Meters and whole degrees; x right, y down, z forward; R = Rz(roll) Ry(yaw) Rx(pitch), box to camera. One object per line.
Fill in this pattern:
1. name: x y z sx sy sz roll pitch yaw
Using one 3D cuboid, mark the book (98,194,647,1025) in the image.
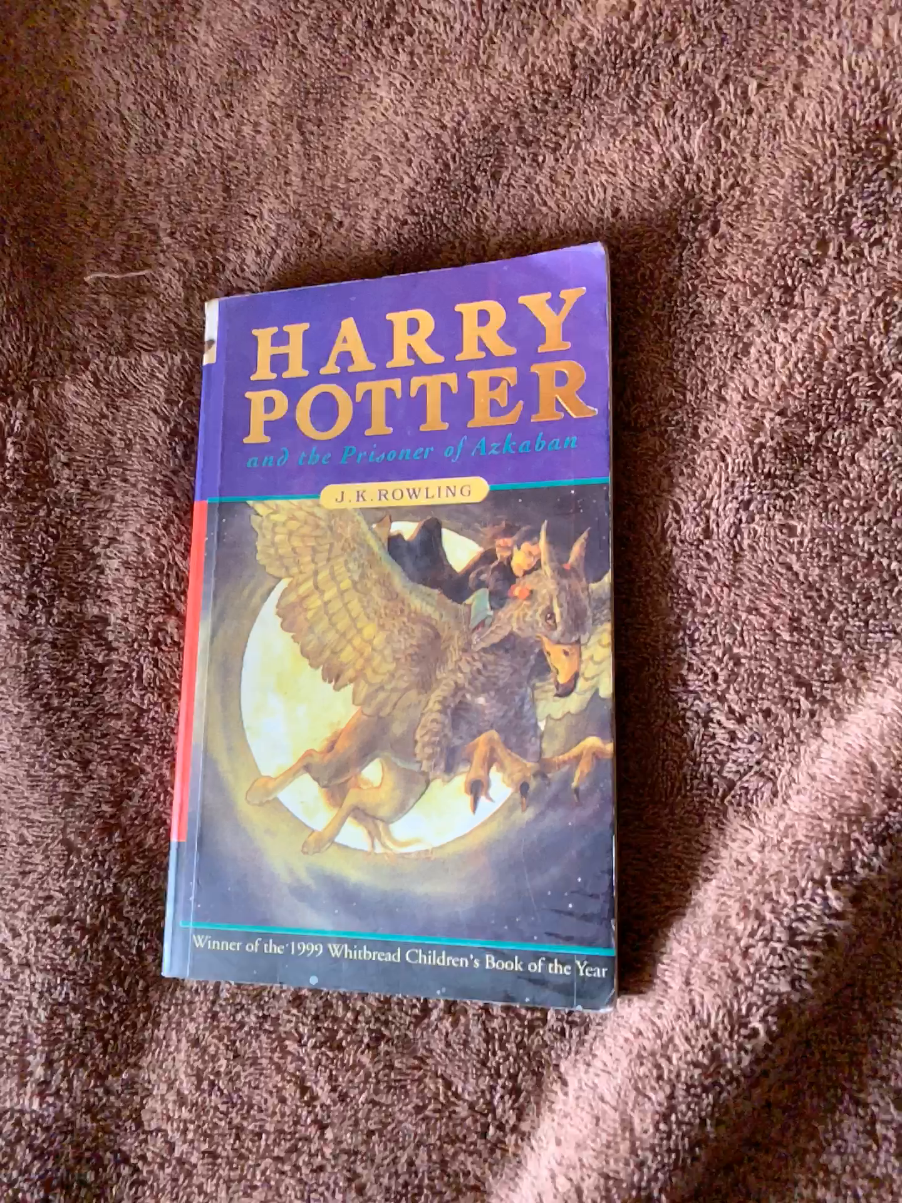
1. book: -0.022 0.001 0.229 0.130 0.020 0.180 -2 84 15
